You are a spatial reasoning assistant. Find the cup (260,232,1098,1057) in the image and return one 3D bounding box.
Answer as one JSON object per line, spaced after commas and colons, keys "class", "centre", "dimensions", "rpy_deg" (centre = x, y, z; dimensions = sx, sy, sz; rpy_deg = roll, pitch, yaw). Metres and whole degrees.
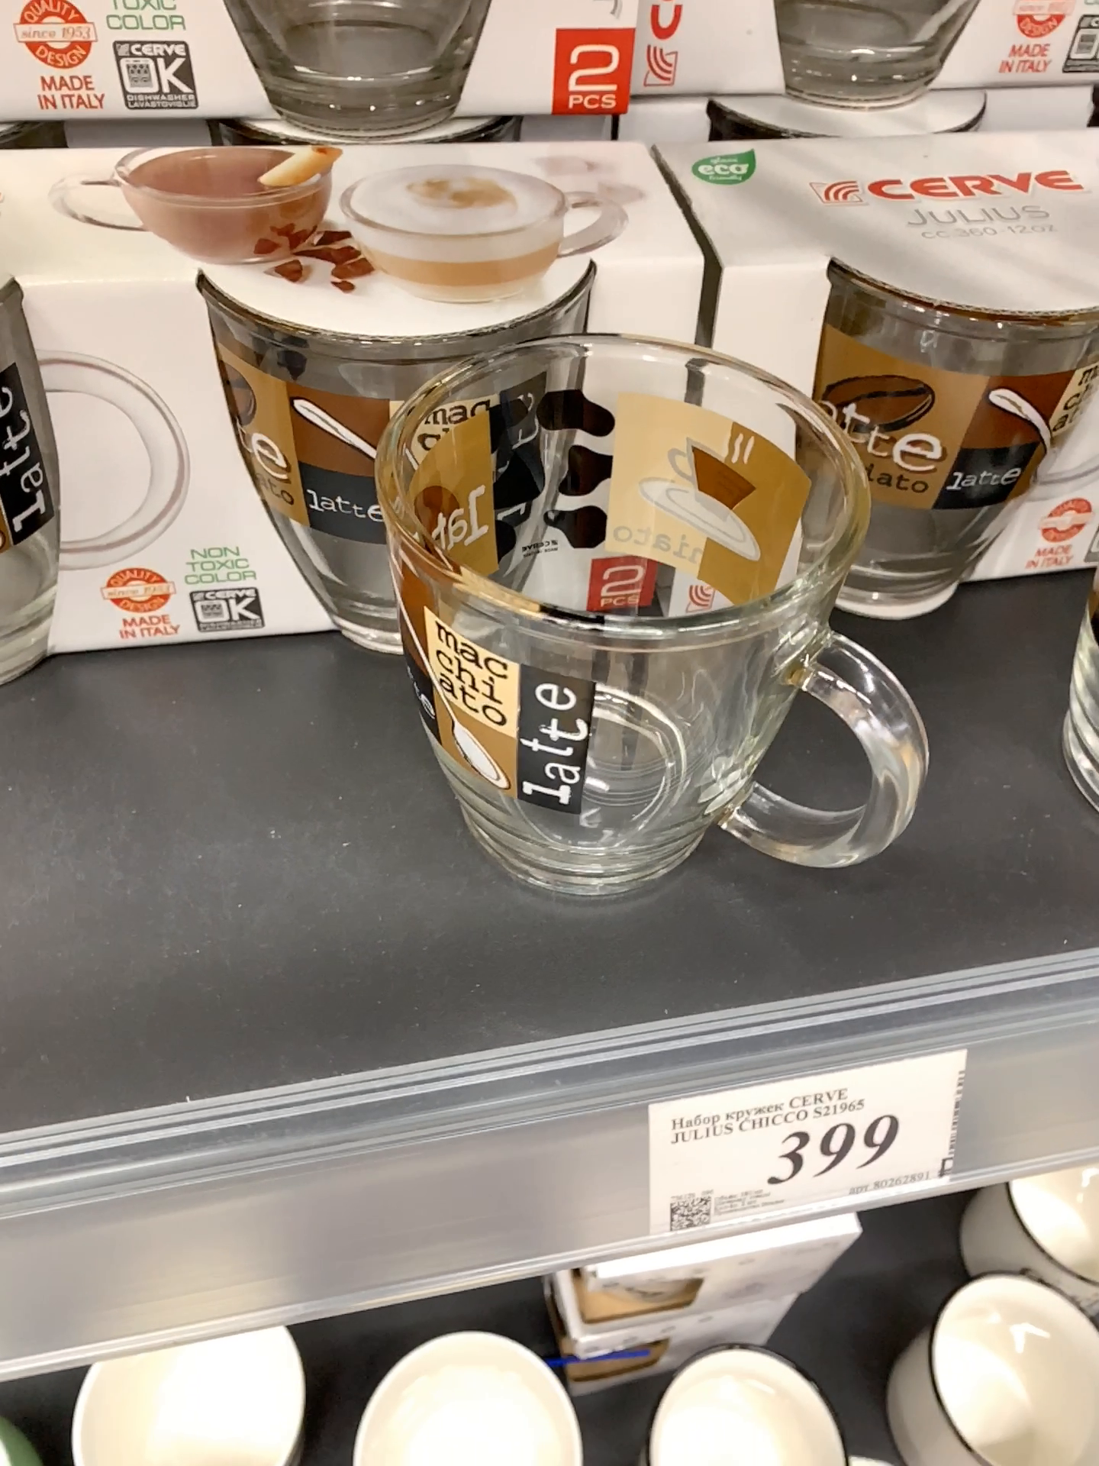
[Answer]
{"class": "cup", "centre": [0.019, -0.023, 0.225], "dimensions": [0.118, 0.086, 0.084], "rpy_deg": [37, 56, 25]}
